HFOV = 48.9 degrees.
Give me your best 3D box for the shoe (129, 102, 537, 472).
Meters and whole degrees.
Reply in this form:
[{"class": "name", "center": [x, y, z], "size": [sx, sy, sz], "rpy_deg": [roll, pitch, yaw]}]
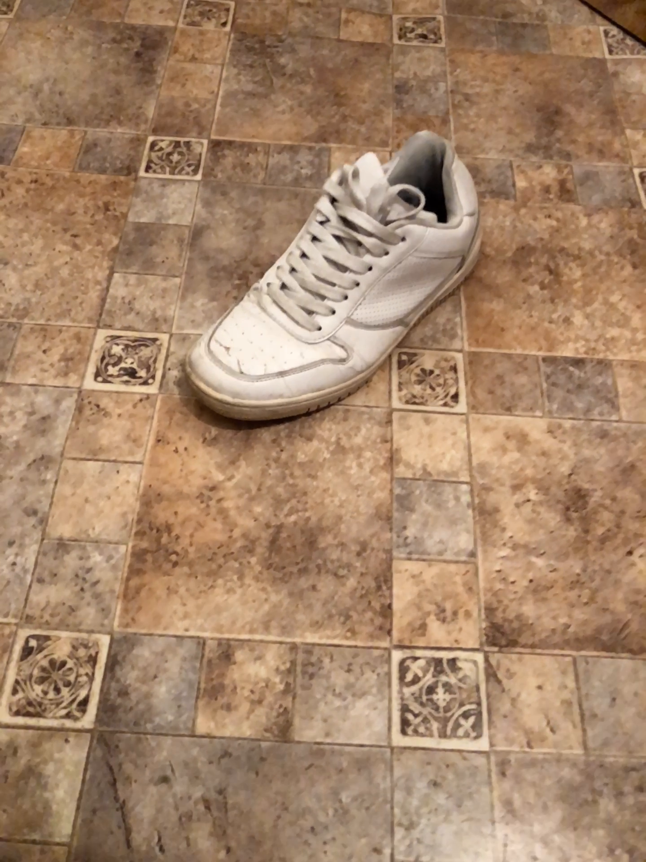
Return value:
[{"class": "shoe", "center": [0.014, -0.117, 0.546], "size": [0.281, 0.109, 0.122], "rpy_deg": [-38, 68, -22]}]
